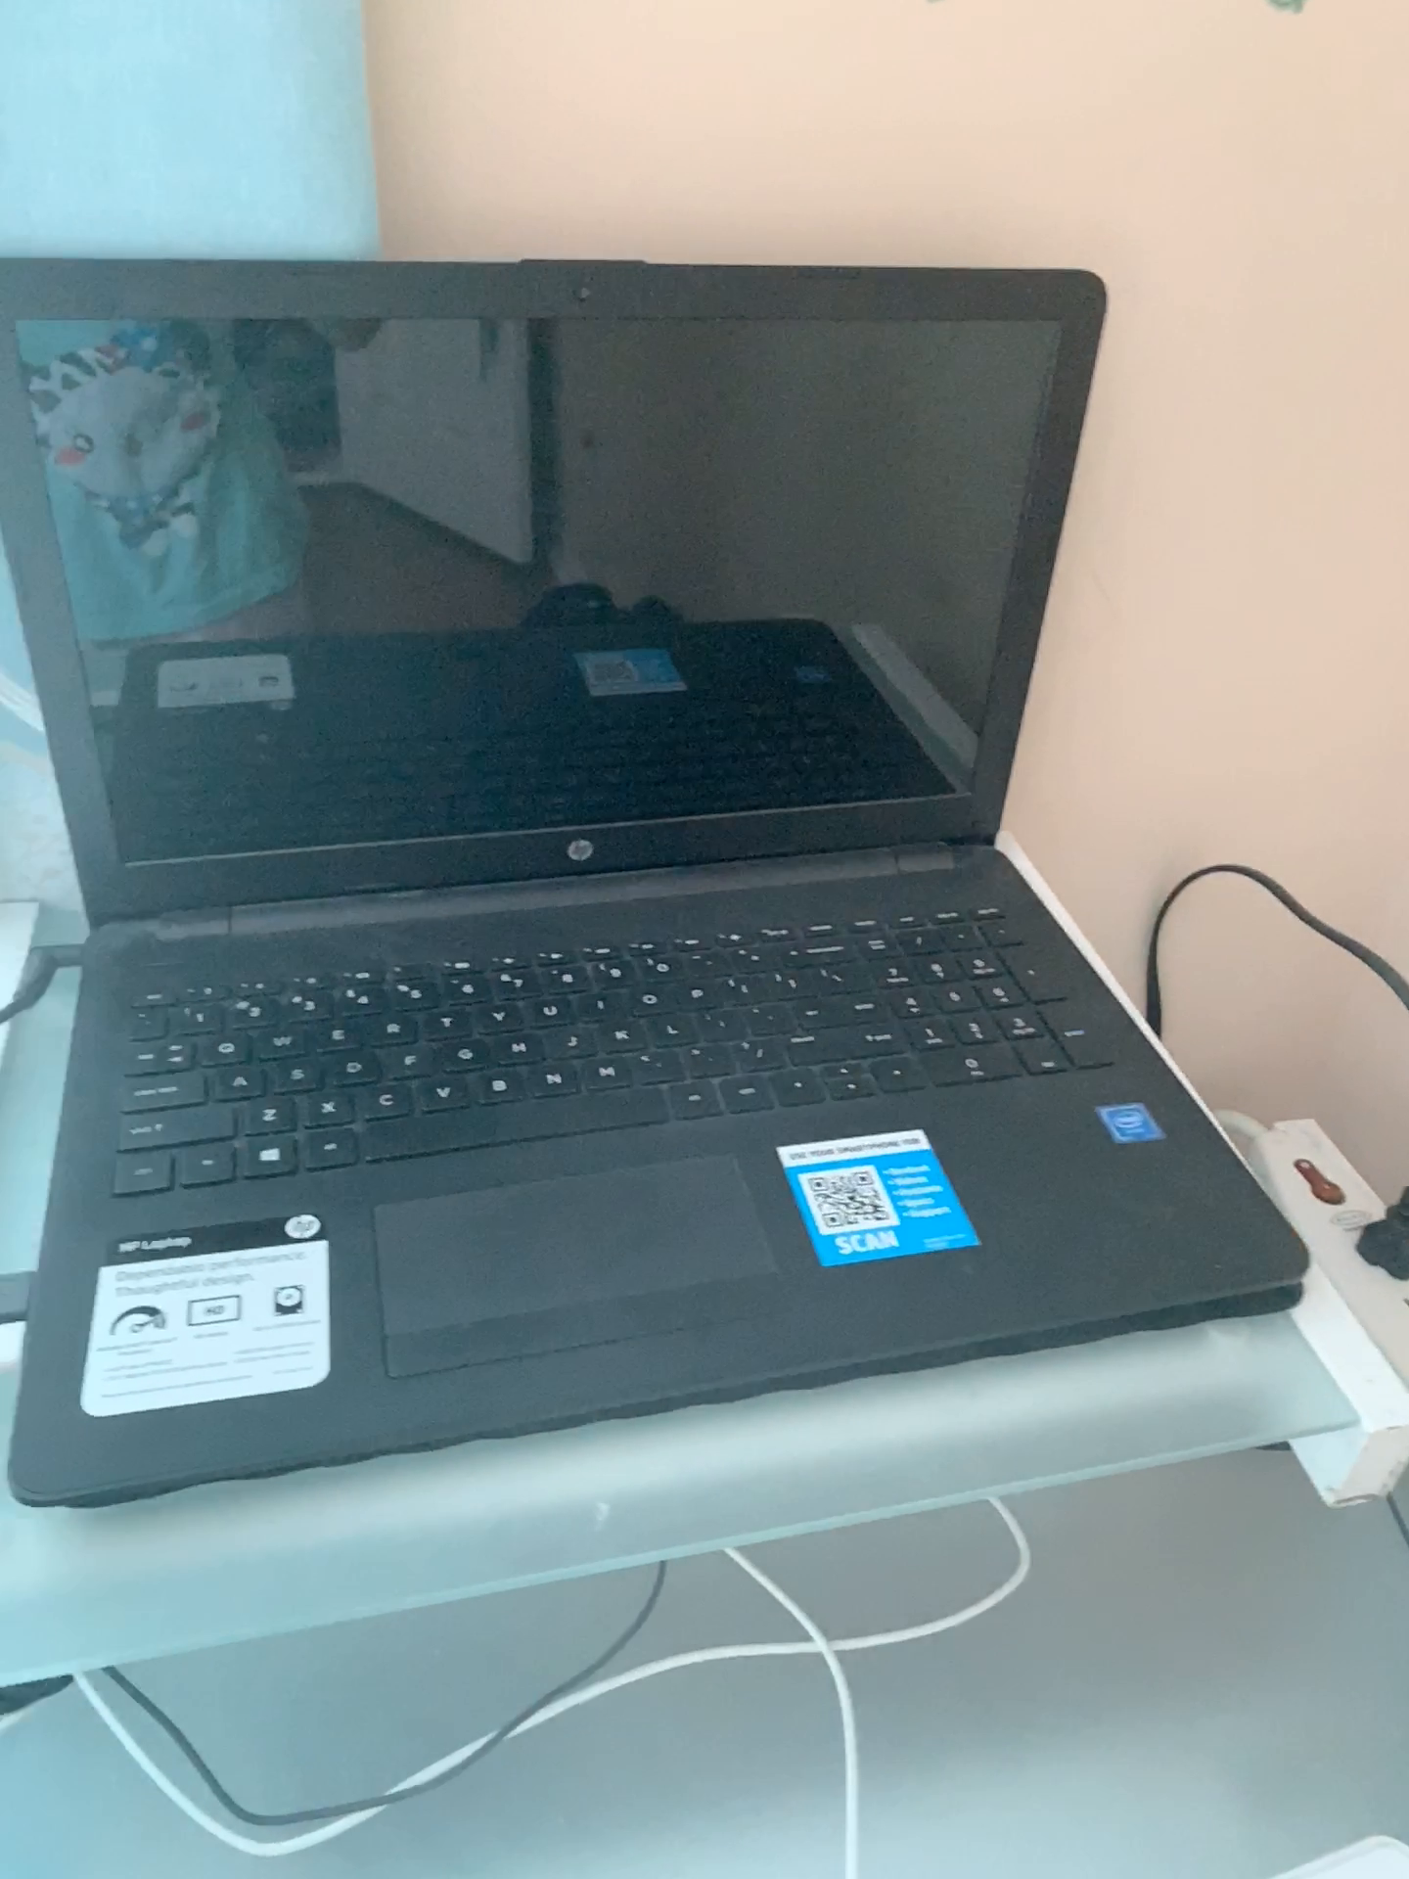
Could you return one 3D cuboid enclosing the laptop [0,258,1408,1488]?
[{"bbox_3d":[-0.017,-0.046,0.426,0.358,0.225,0.247,-5,37,-14],"label":"laptop"}]
